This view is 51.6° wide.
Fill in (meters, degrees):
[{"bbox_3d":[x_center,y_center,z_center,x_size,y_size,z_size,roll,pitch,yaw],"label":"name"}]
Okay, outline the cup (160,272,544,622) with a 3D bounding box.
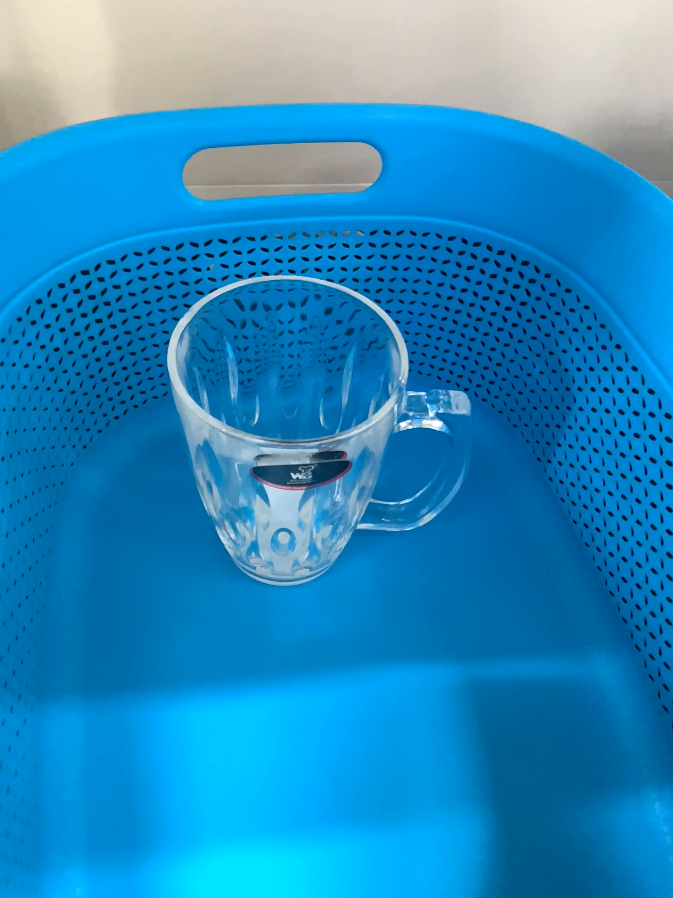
[{"bbox_3d":[0.000,0.003,0.265,0.110,0.109,0.081,-1,52,-5],"label":"cup"}]
